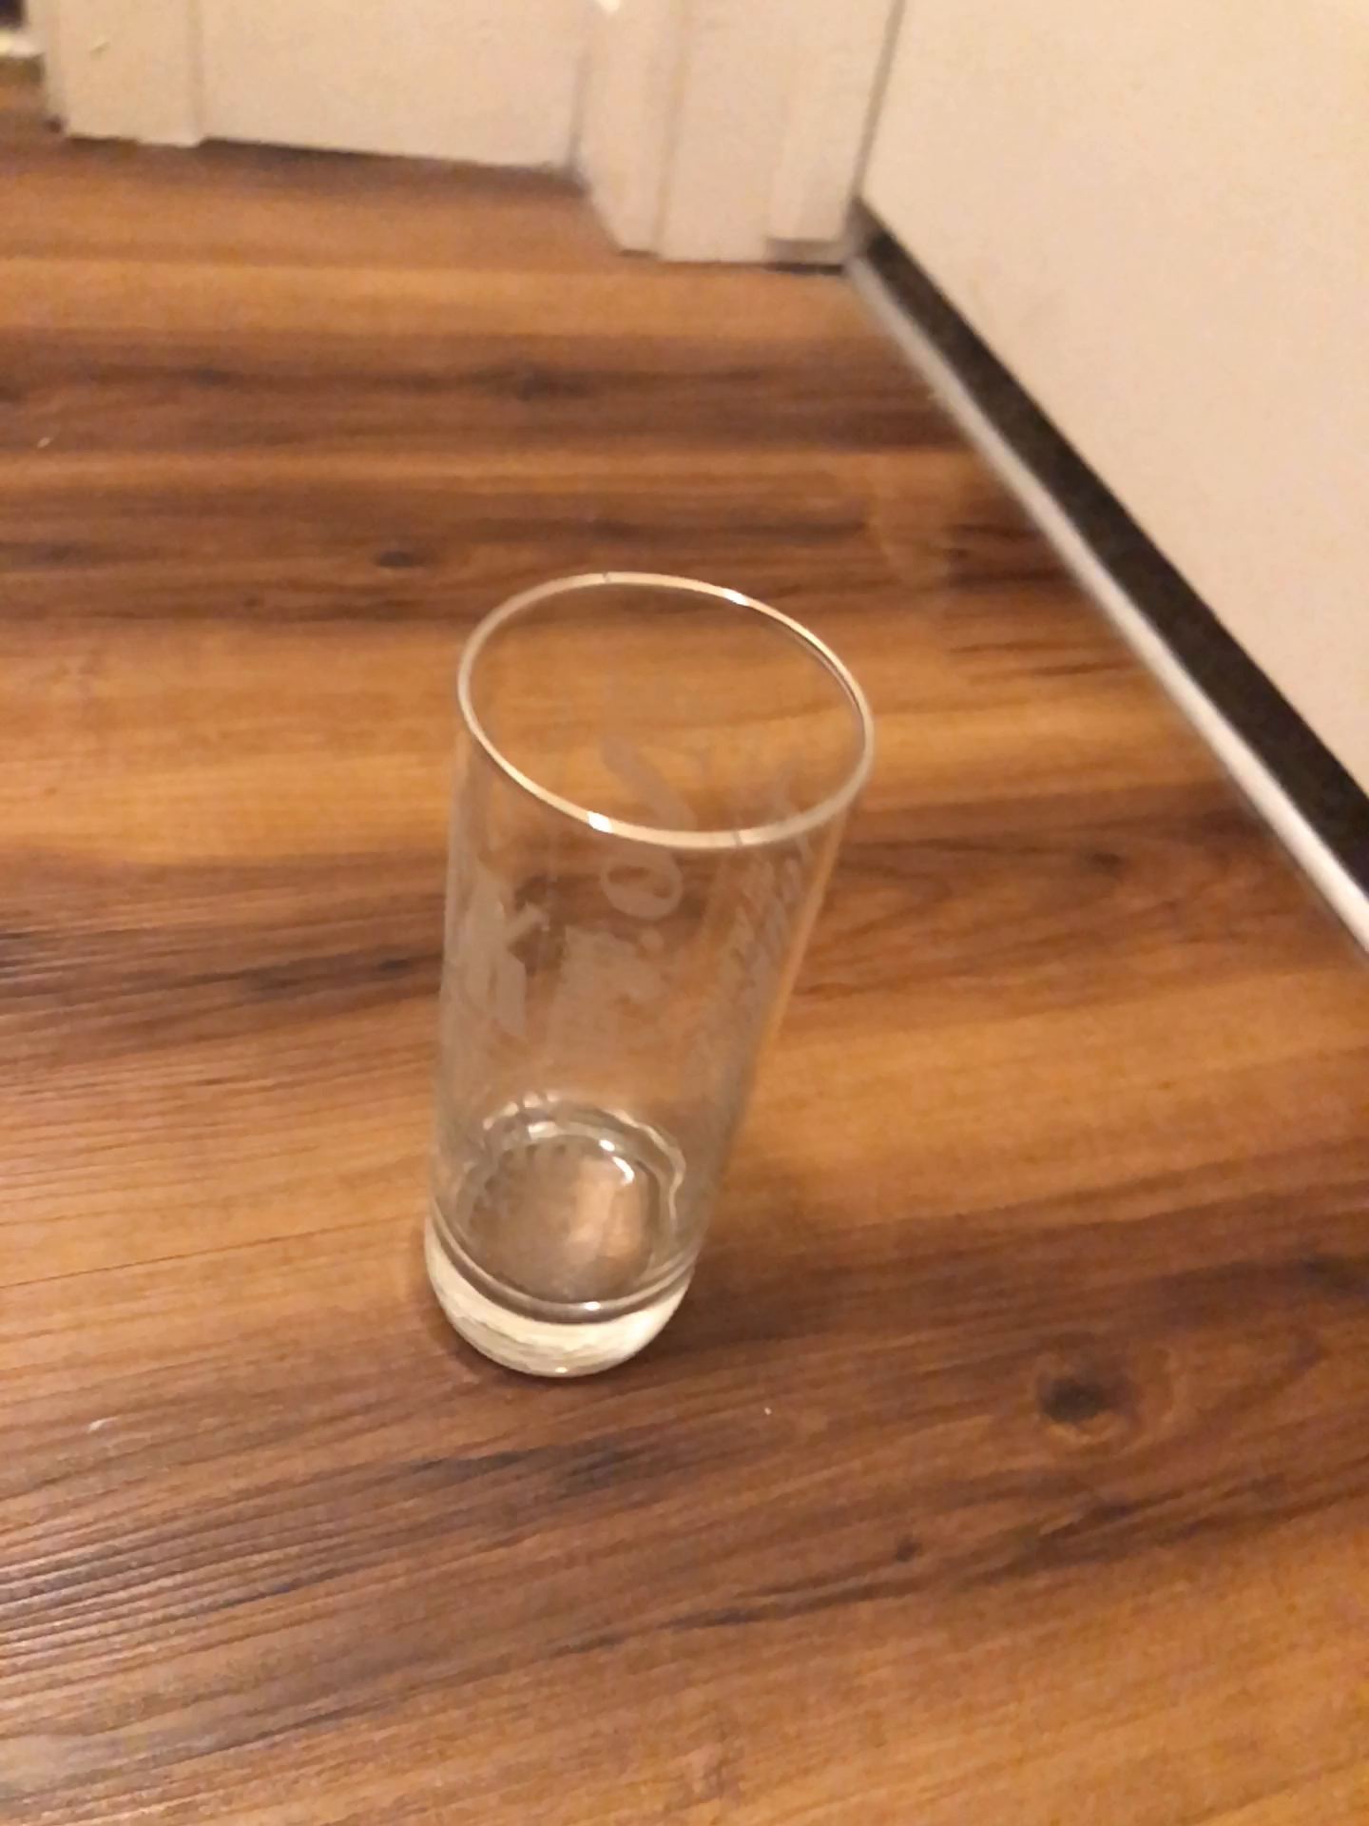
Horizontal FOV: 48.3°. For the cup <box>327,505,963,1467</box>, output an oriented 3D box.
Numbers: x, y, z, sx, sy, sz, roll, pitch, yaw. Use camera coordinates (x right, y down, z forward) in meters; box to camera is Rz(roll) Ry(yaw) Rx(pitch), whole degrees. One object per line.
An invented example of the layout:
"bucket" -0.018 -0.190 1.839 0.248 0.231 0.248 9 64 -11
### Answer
"cup" -0.015 0.020 0.270 0.068 0.150 0.067 7 45 -7
